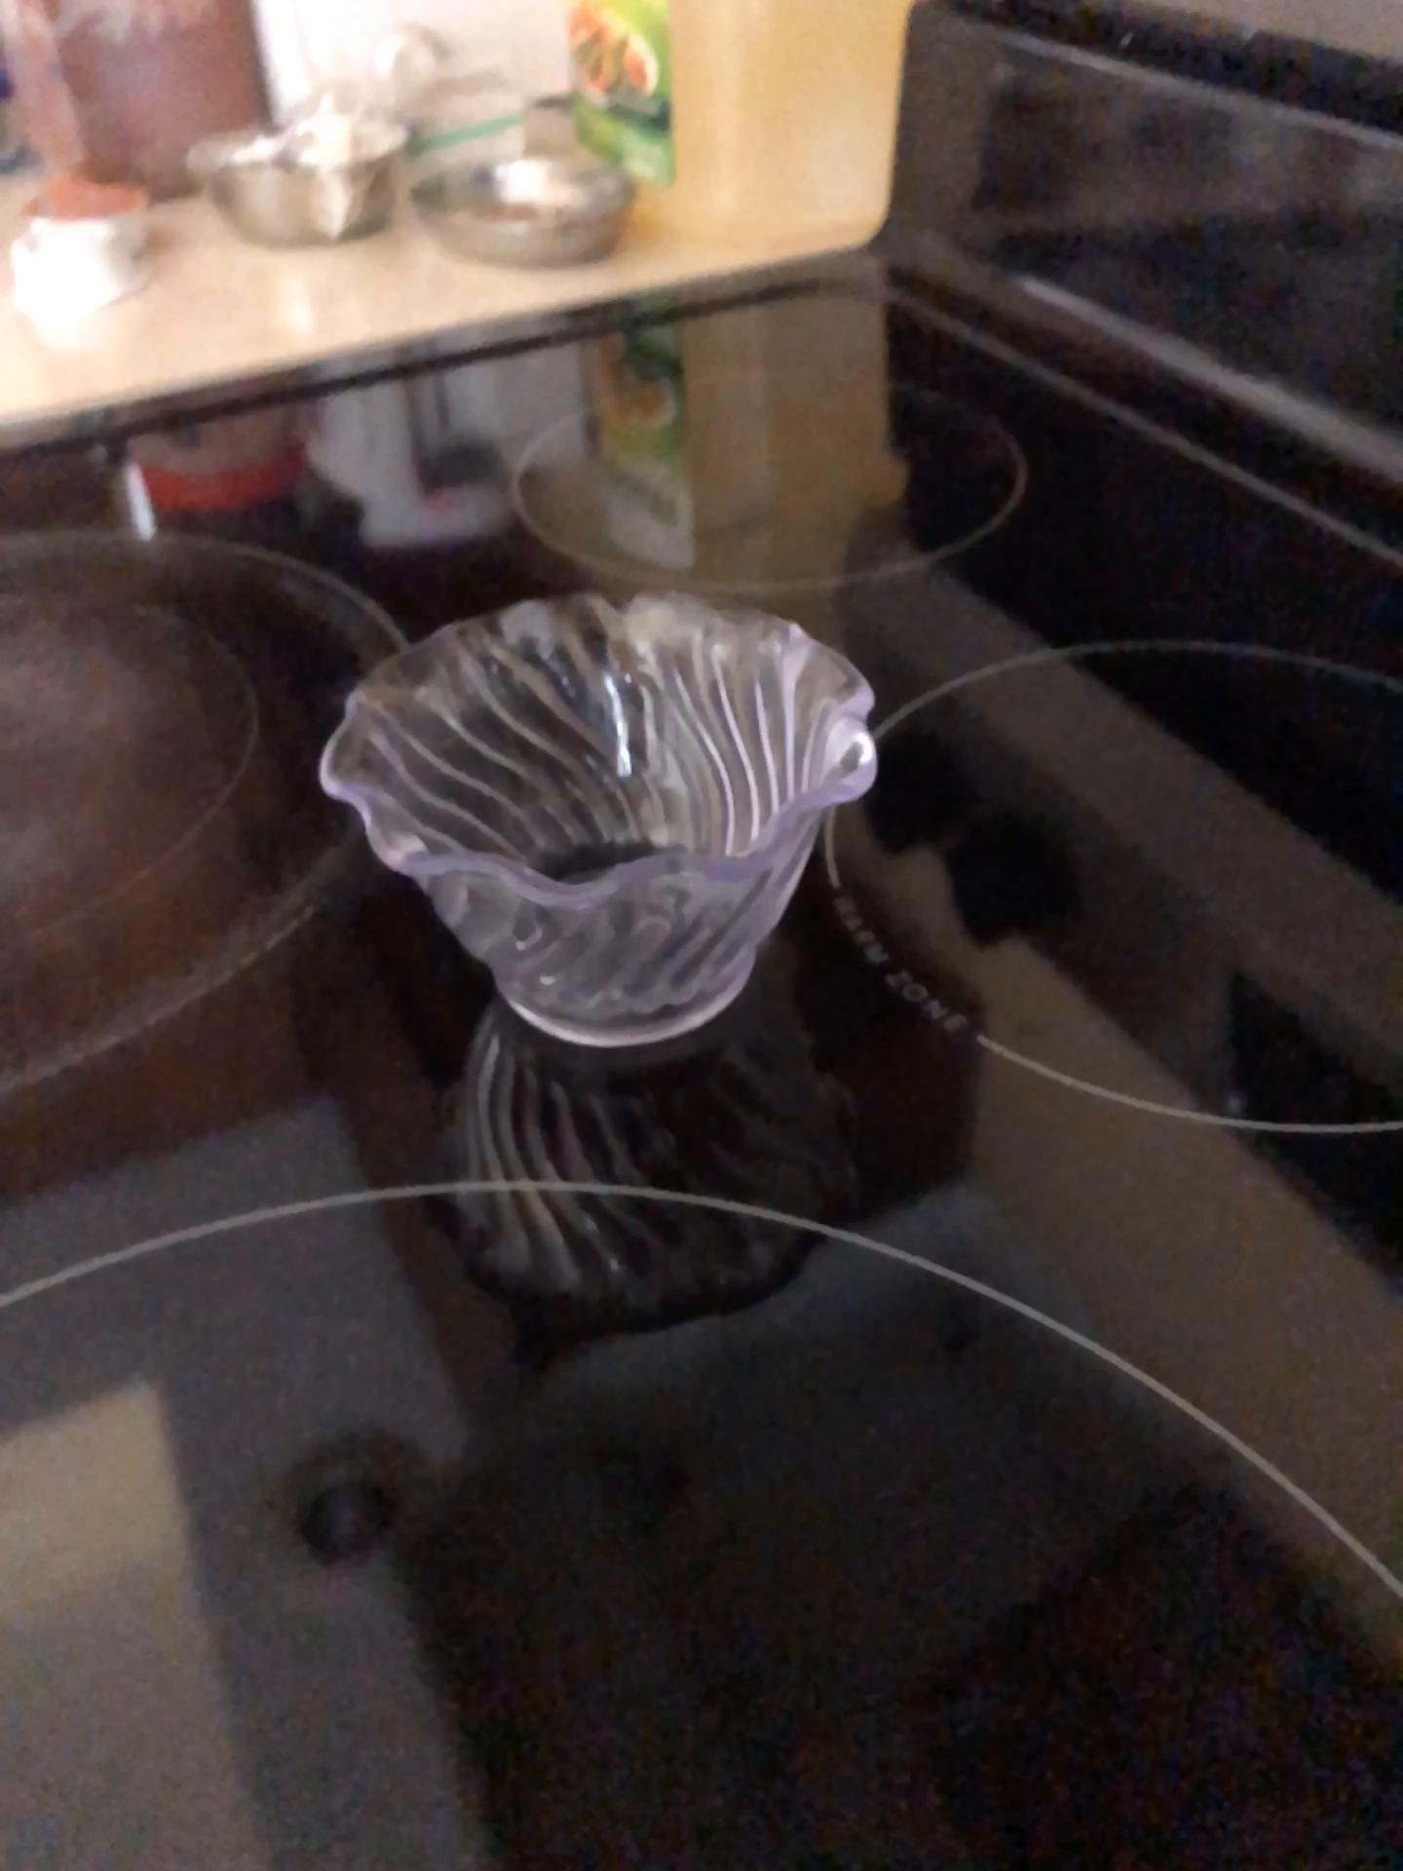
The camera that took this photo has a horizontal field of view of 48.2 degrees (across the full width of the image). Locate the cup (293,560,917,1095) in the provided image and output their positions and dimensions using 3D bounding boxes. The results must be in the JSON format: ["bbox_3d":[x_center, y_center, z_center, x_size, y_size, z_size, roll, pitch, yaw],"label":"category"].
[{"bbox_3d":[-0.010,-0.023,0.276,0.090,0.049,0.091,-2,39,2],"label":"cup"}]
